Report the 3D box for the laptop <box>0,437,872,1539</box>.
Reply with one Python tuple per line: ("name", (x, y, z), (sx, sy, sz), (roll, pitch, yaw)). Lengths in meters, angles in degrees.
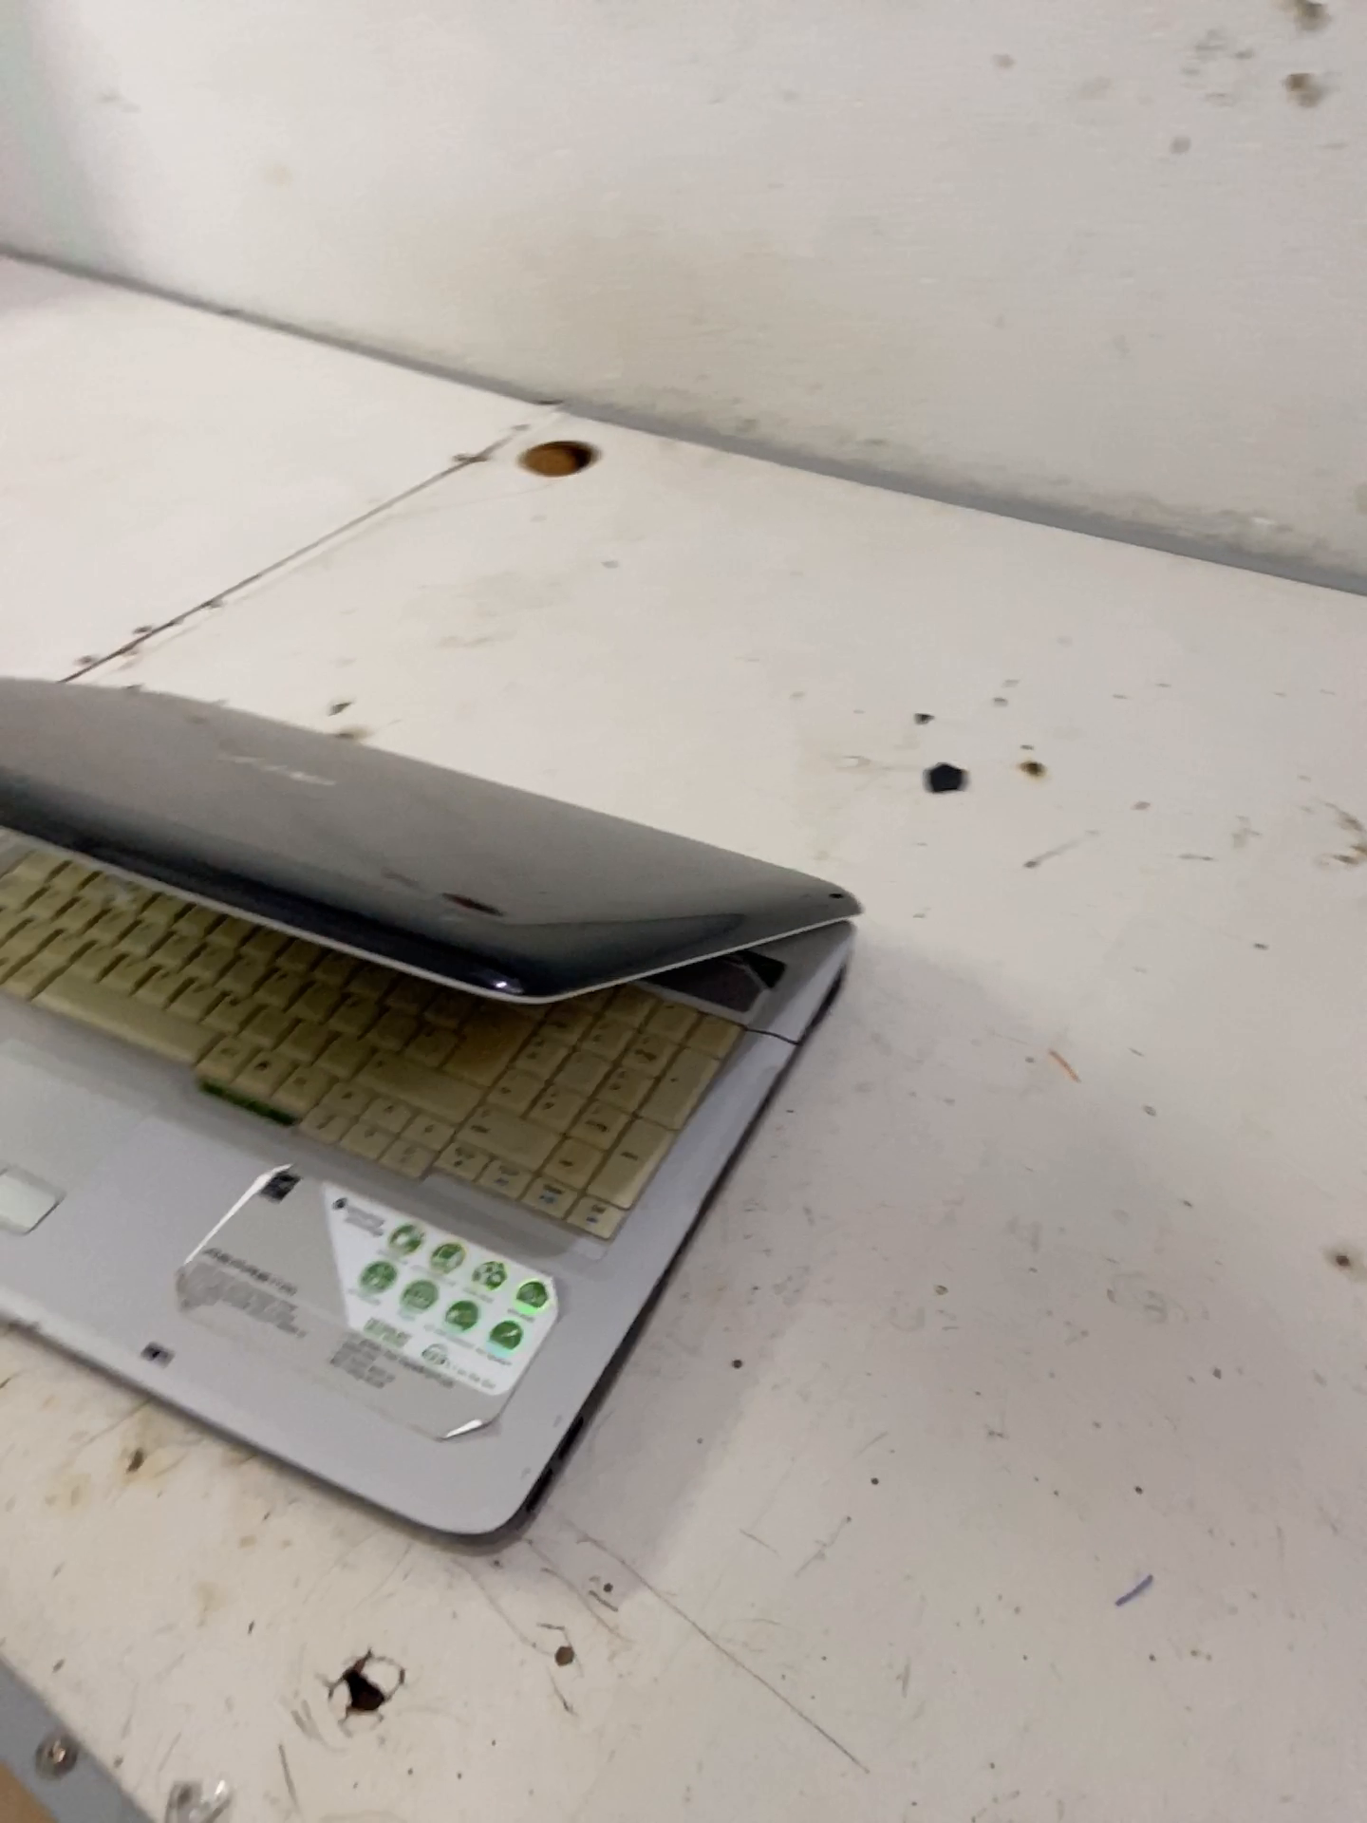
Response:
("laptop", (-0.166, -0.016, 0.507), (0.380, 0.164, 0.279), (16, 46, 24))
